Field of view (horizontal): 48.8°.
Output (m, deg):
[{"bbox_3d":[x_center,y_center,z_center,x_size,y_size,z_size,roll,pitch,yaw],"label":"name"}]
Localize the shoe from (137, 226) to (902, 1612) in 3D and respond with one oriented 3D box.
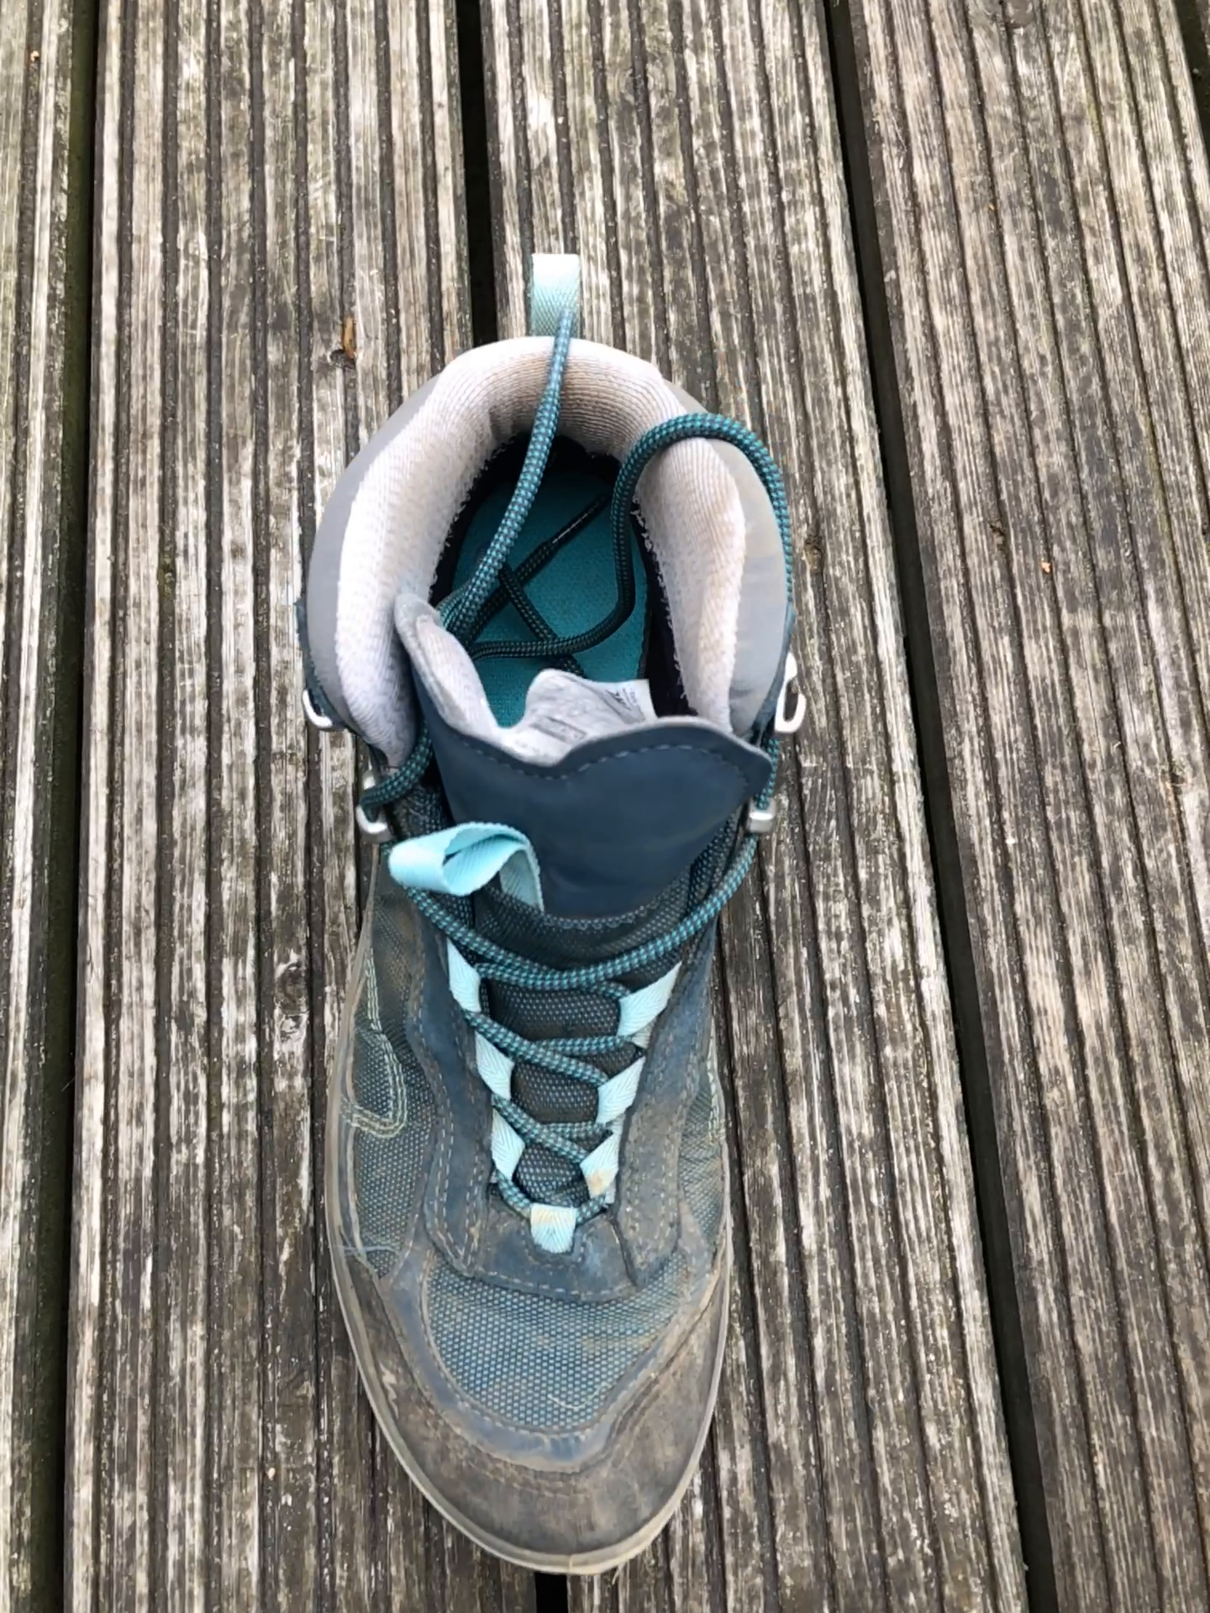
[{"bbox_3d":[-0.020,0.031,0.300,0.120,0.120,0.280,-1,77,-3],"label":"shoe"}]
